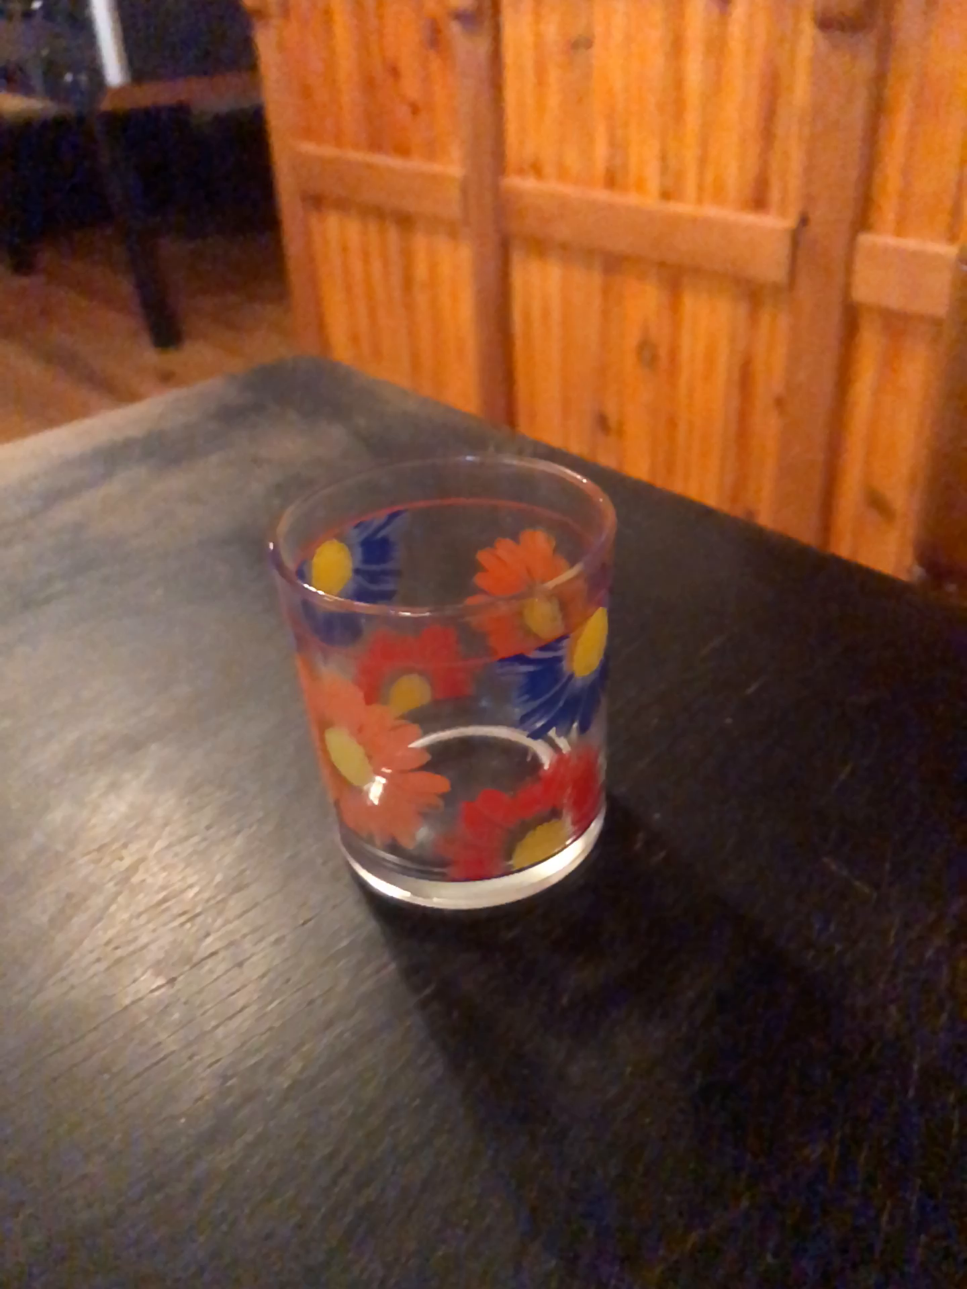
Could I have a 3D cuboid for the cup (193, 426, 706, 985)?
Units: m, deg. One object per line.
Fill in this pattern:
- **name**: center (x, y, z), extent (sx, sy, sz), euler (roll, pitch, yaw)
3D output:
- **cup**: center (-0.006, 0.008, 0.248), extent (0.076, 0.079, 0.078), euler (-3, 33, 2)
